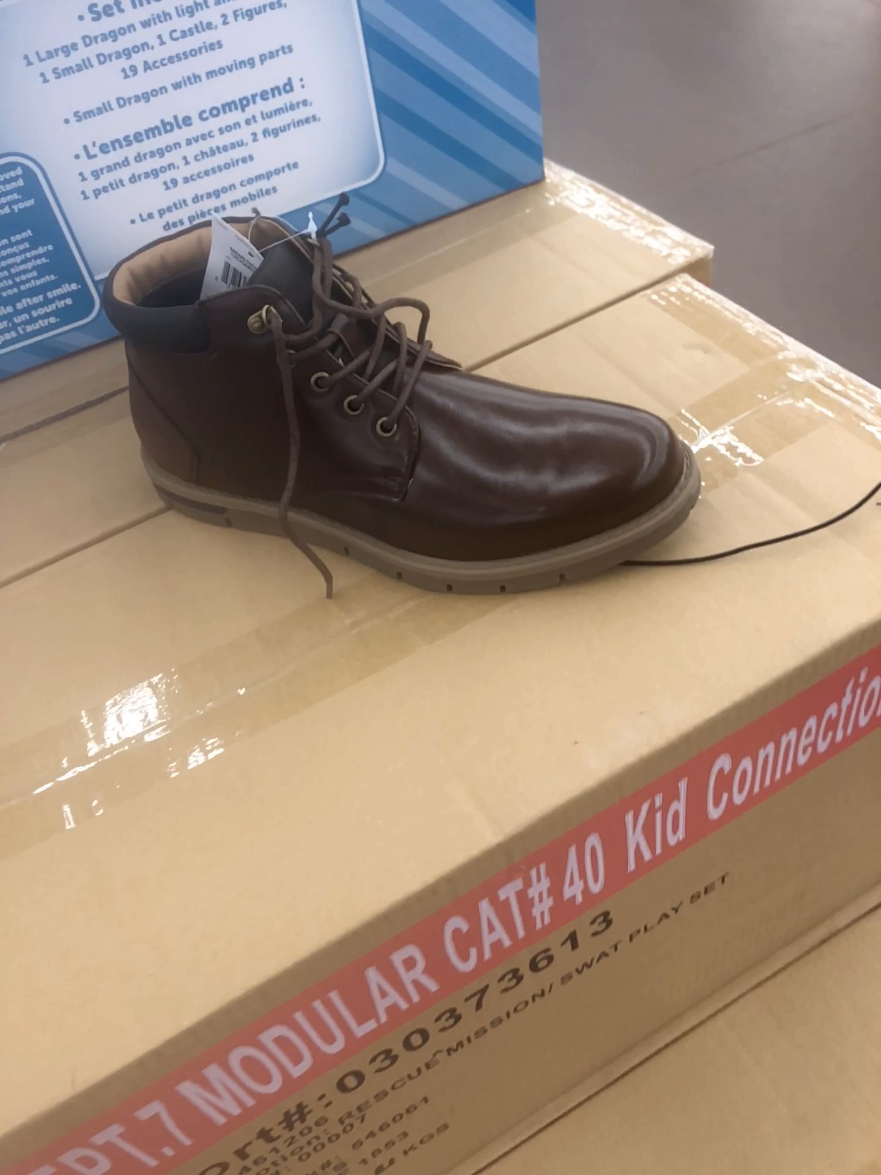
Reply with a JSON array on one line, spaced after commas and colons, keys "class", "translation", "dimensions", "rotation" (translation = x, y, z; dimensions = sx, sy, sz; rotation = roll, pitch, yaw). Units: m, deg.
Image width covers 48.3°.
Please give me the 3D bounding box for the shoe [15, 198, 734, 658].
[{"class": "shoe", "translation": [-0.020, -0.084, 0.478], "dimensions": [0.290, 0.159, 0.120], "rotation": [8, 50, 19]}]
